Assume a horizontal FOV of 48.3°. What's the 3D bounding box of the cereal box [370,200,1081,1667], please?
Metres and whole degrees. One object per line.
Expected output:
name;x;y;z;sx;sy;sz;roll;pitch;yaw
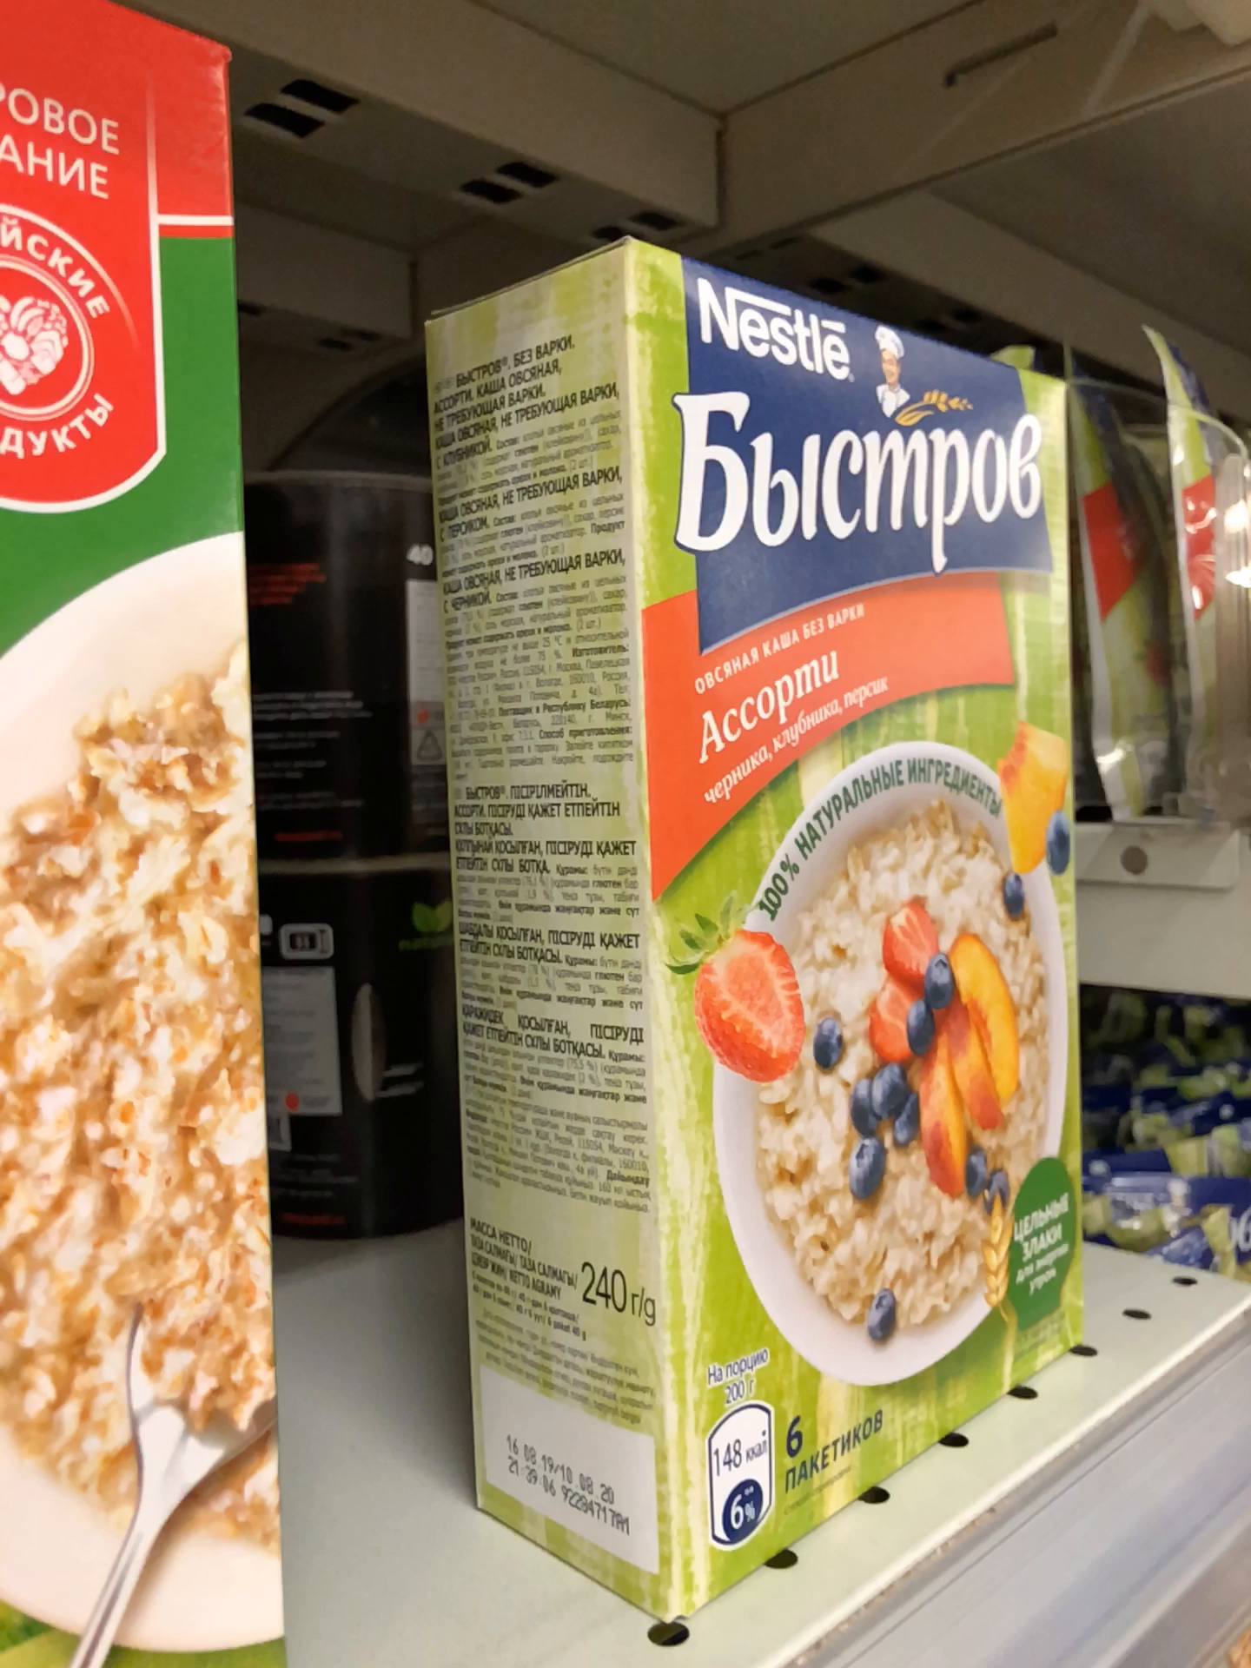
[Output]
cereal box;0.027;0.011;0.253;0.050;0.200;0.130;1;4;45
